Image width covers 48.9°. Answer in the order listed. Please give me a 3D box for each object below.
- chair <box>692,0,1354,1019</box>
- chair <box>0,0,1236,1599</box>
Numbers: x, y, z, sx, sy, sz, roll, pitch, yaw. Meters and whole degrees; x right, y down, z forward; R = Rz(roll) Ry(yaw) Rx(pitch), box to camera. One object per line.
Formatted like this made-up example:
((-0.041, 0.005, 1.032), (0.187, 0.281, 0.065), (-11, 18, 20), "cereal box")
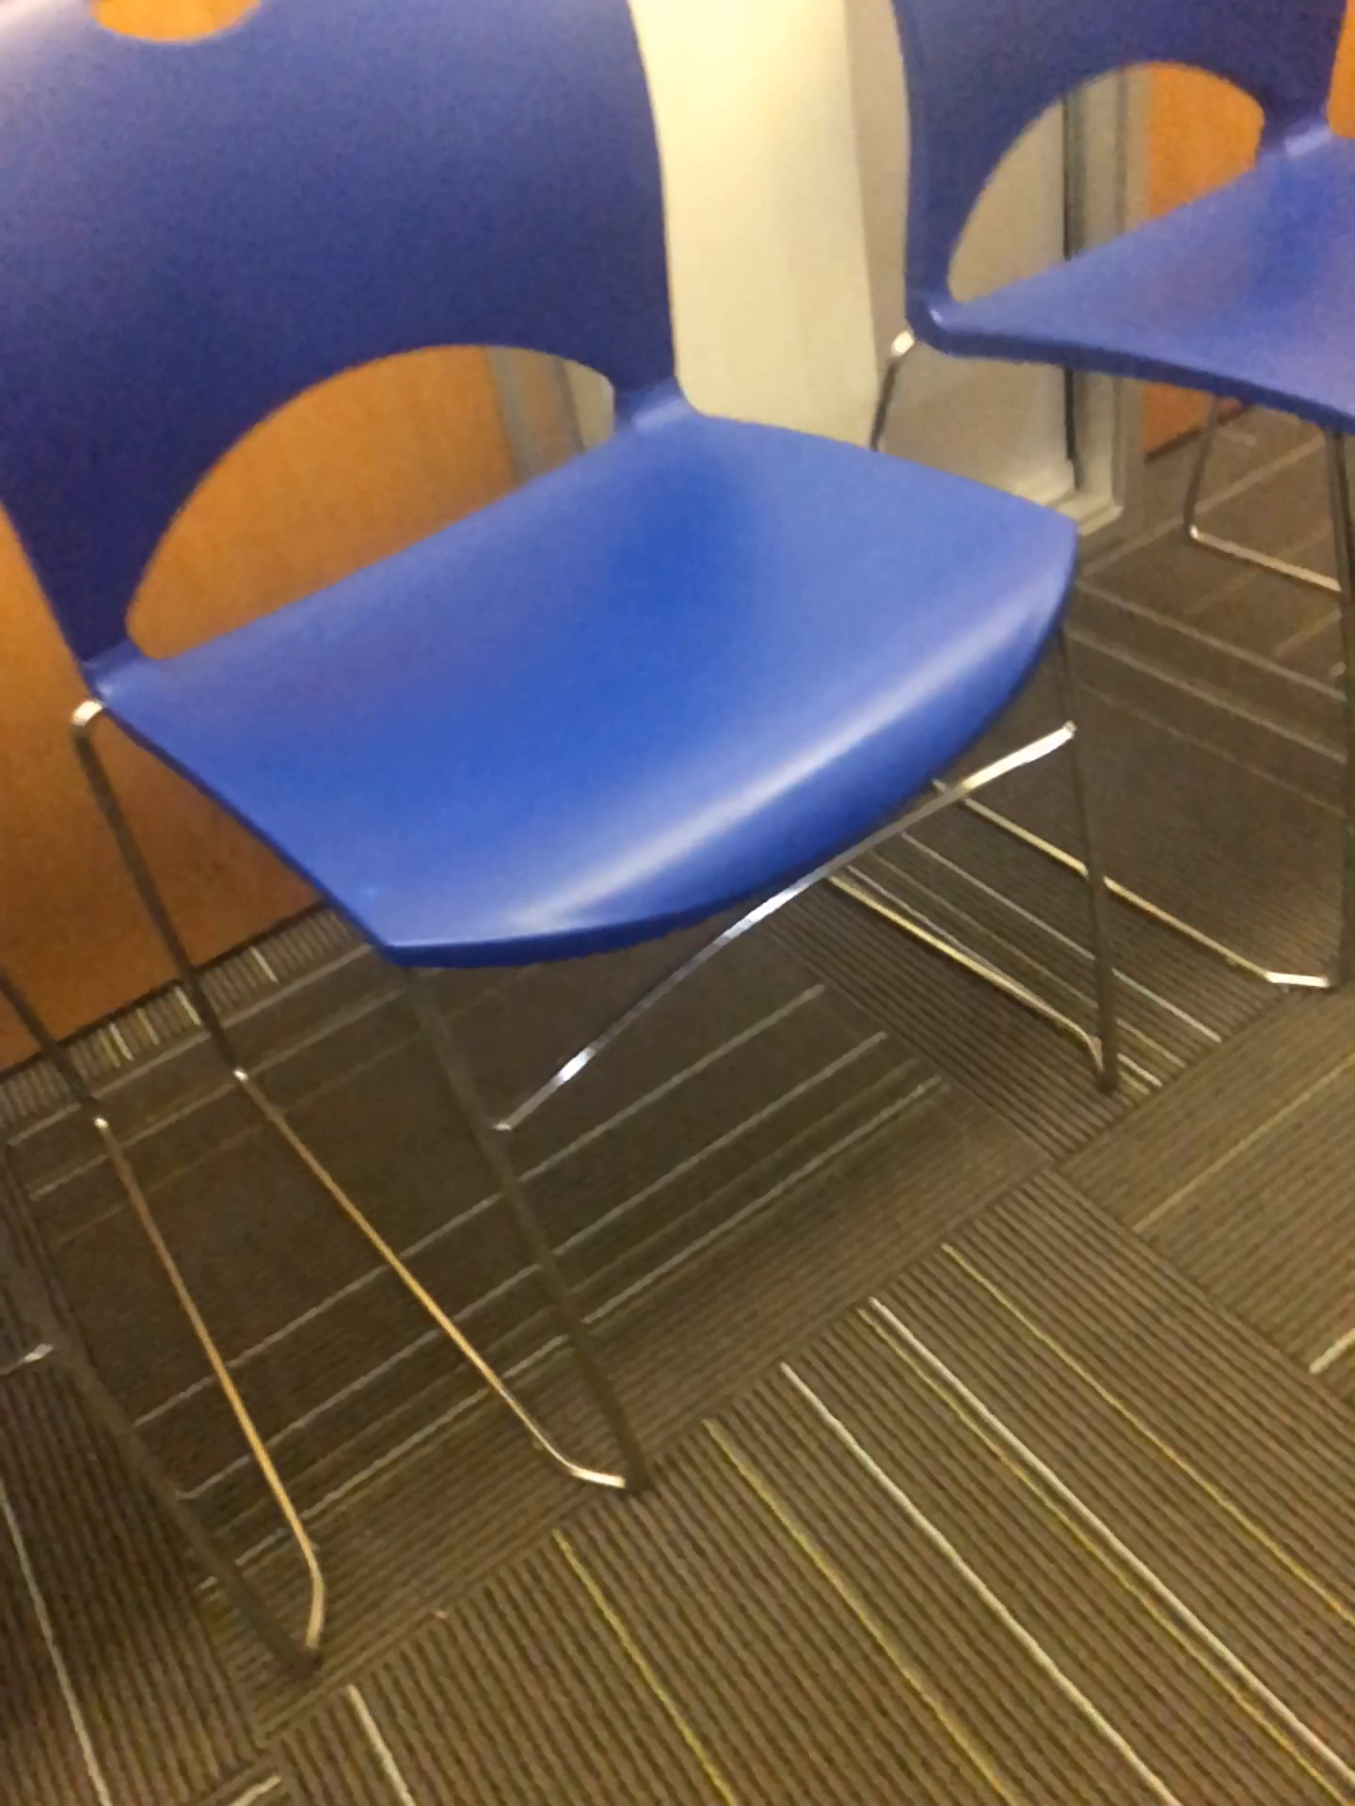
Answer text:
((0.462, -0.471, 1.158), (0.542, 0.774, 0.592), (-30, 41, -21), "chair")
((-0.090, -0.151, 0.992), (0.522, 0.853, 0.632), (-31, 42, -22), "chair")
